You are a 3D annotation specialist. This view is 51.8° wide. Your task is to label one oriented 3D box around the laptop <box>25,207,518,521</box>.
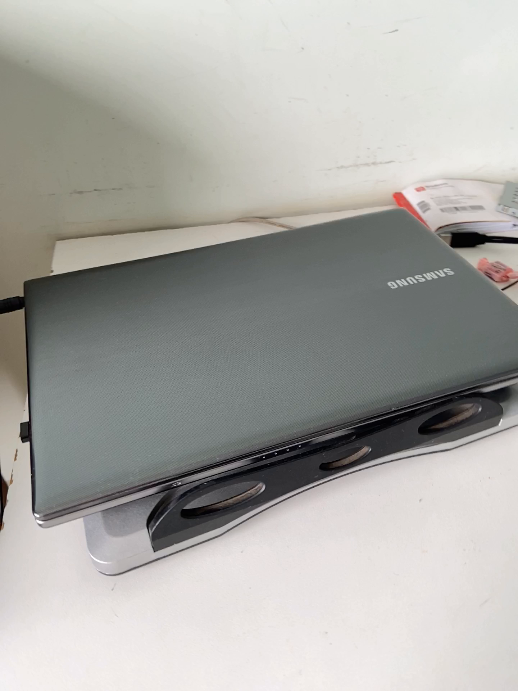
[{"bbox_3d":[0.013,-0.023,0.426,0.374,0.005,0.237,-14,43,-14],"label":"laptop"}]
